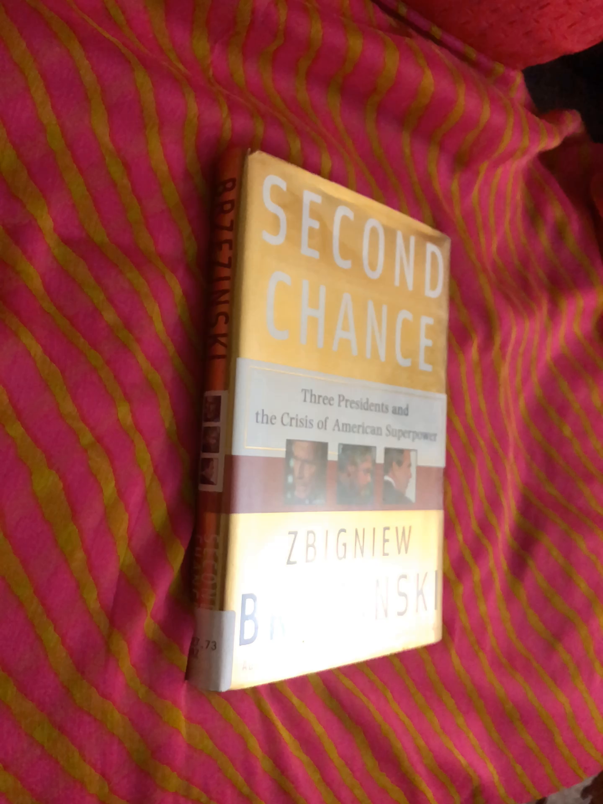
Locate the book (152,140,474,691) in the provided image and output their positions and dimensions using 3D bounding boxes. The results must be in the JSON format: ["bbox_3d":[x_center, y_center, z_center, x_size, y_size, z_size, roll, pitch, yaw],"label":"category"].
[{"bbox_3d":[0.014,0.009,0.302,0.141,0.037,0.200,7,84,-38],"label":"book"}]
